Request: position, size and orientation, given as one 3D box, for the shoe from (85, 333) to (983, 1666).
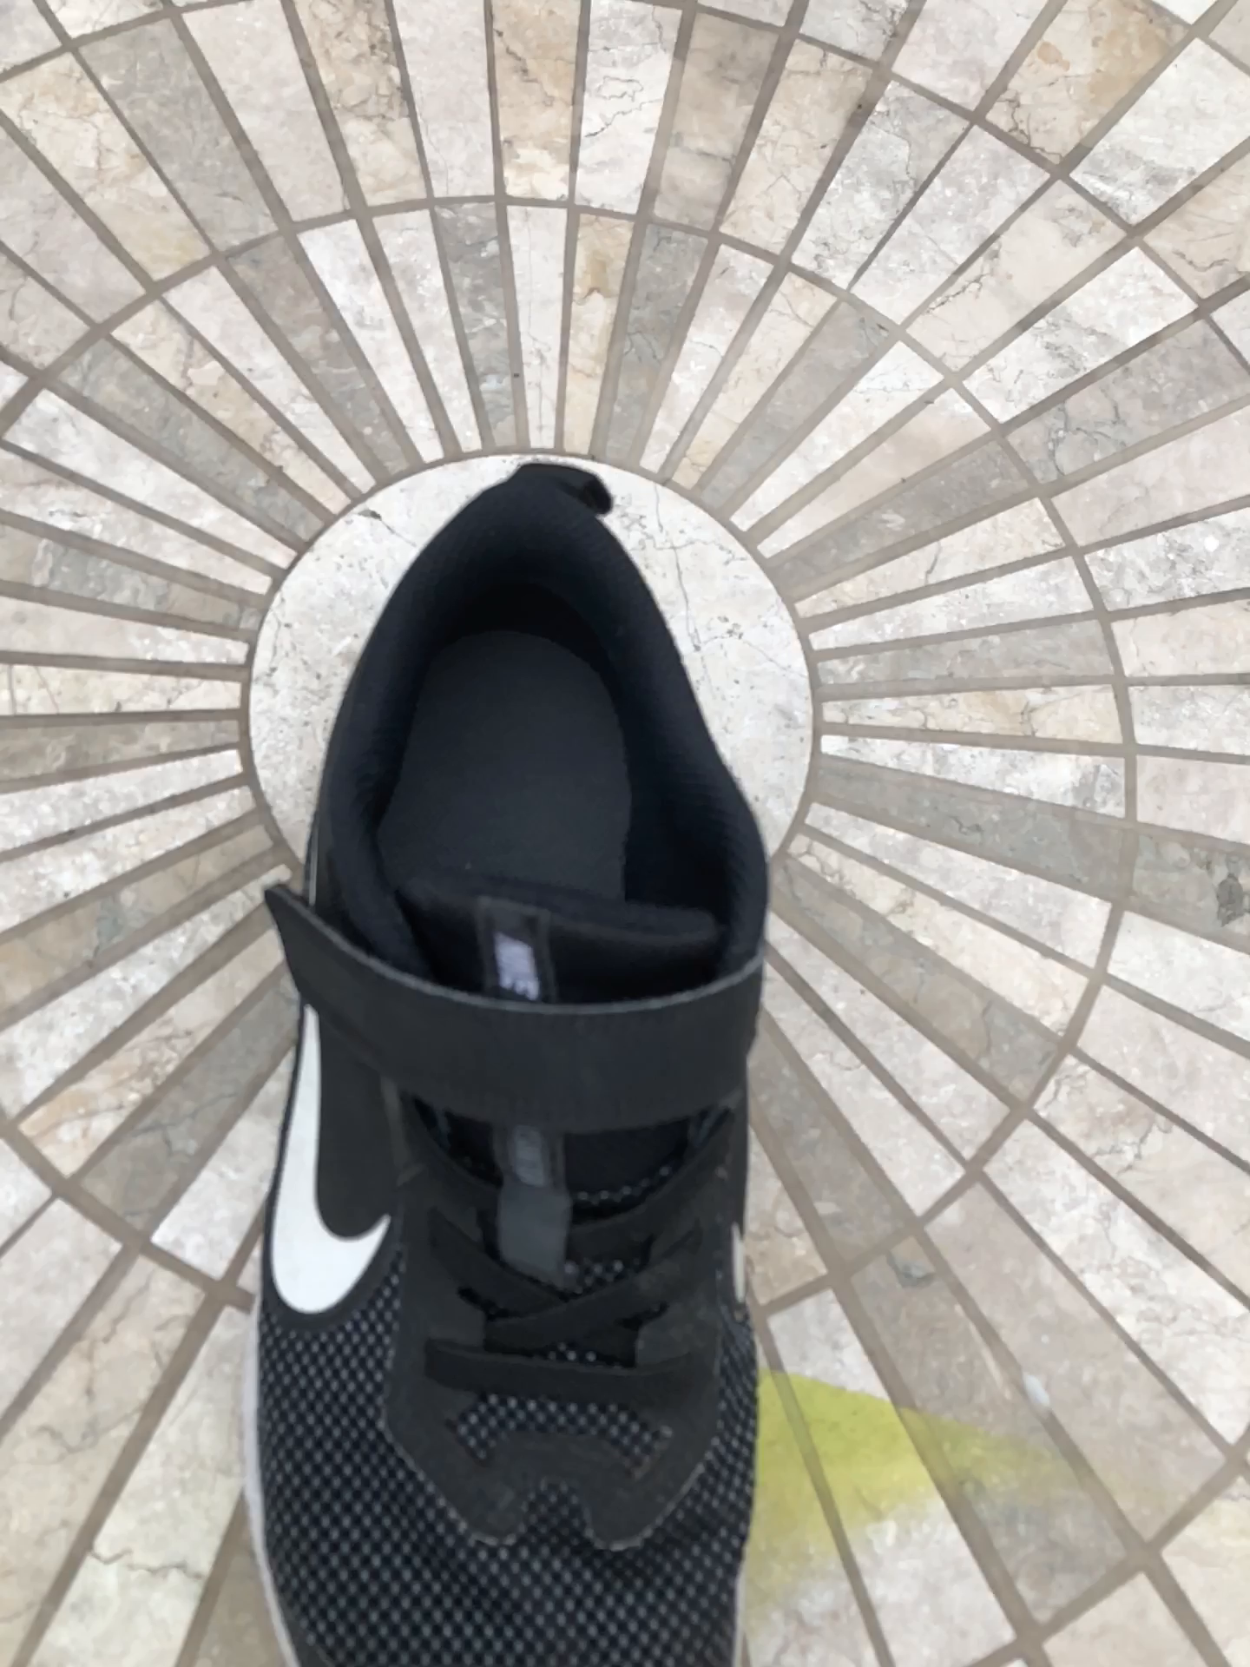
[{"bbox_3d":[-0.018,0.055,0.235,0.100,0.100,0.250,0,73,-7],"label":"shoe"}]
